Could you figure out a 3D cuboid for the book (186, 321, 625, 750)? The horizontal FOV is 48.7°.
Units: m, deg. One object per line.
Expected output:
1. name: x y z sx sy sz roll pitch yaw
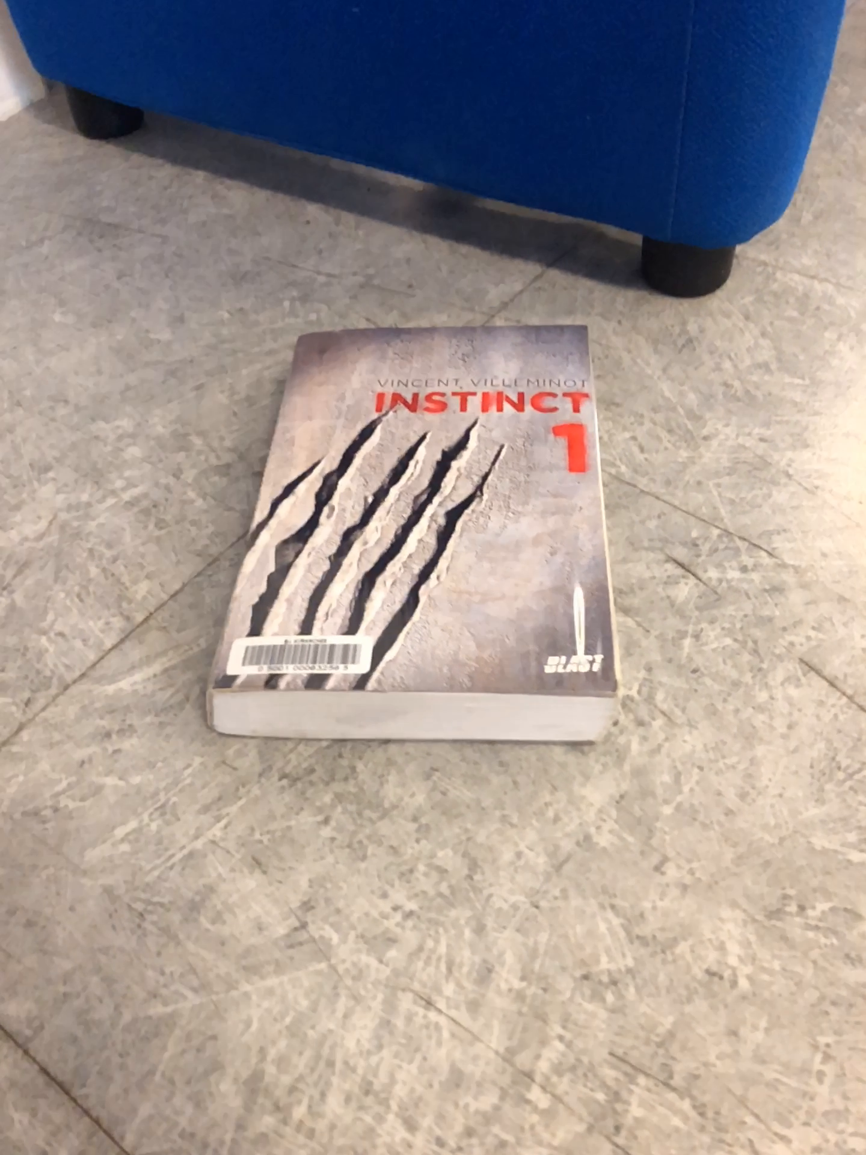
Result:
1. book: -0.004 -0.030 0.388 0.142 0.028 0.211 0 48 4
